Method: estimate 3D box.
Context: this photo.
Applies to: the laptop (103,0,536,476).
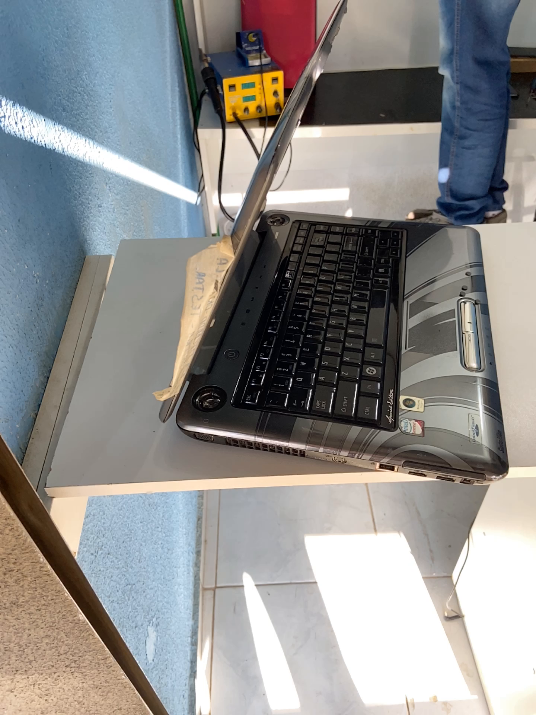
[{"bbox_3d":[0.081,-0.135,0.480,0.258,0.235,0.360,7,45,10],"label":"laptop"}]
